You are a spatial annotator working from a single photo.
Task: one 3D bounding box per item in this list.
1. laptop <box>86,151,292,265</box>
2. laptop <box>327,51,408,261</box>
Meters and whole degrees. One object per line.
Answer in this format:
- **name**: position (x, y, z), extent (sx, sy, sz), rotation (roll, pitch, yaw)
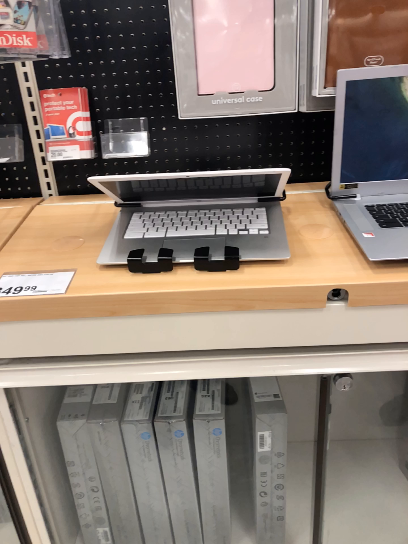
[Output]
- **laptop**: position (-0.019, -0.125, 0.820), extent (0.330, 0.100, 0.216), rotation (-1, 33, 5)
- **laptop**: position (0.447, -0.211, 0.759), extent (0.388, 0.244, 0.274), rotation (-3, 28, 1)
